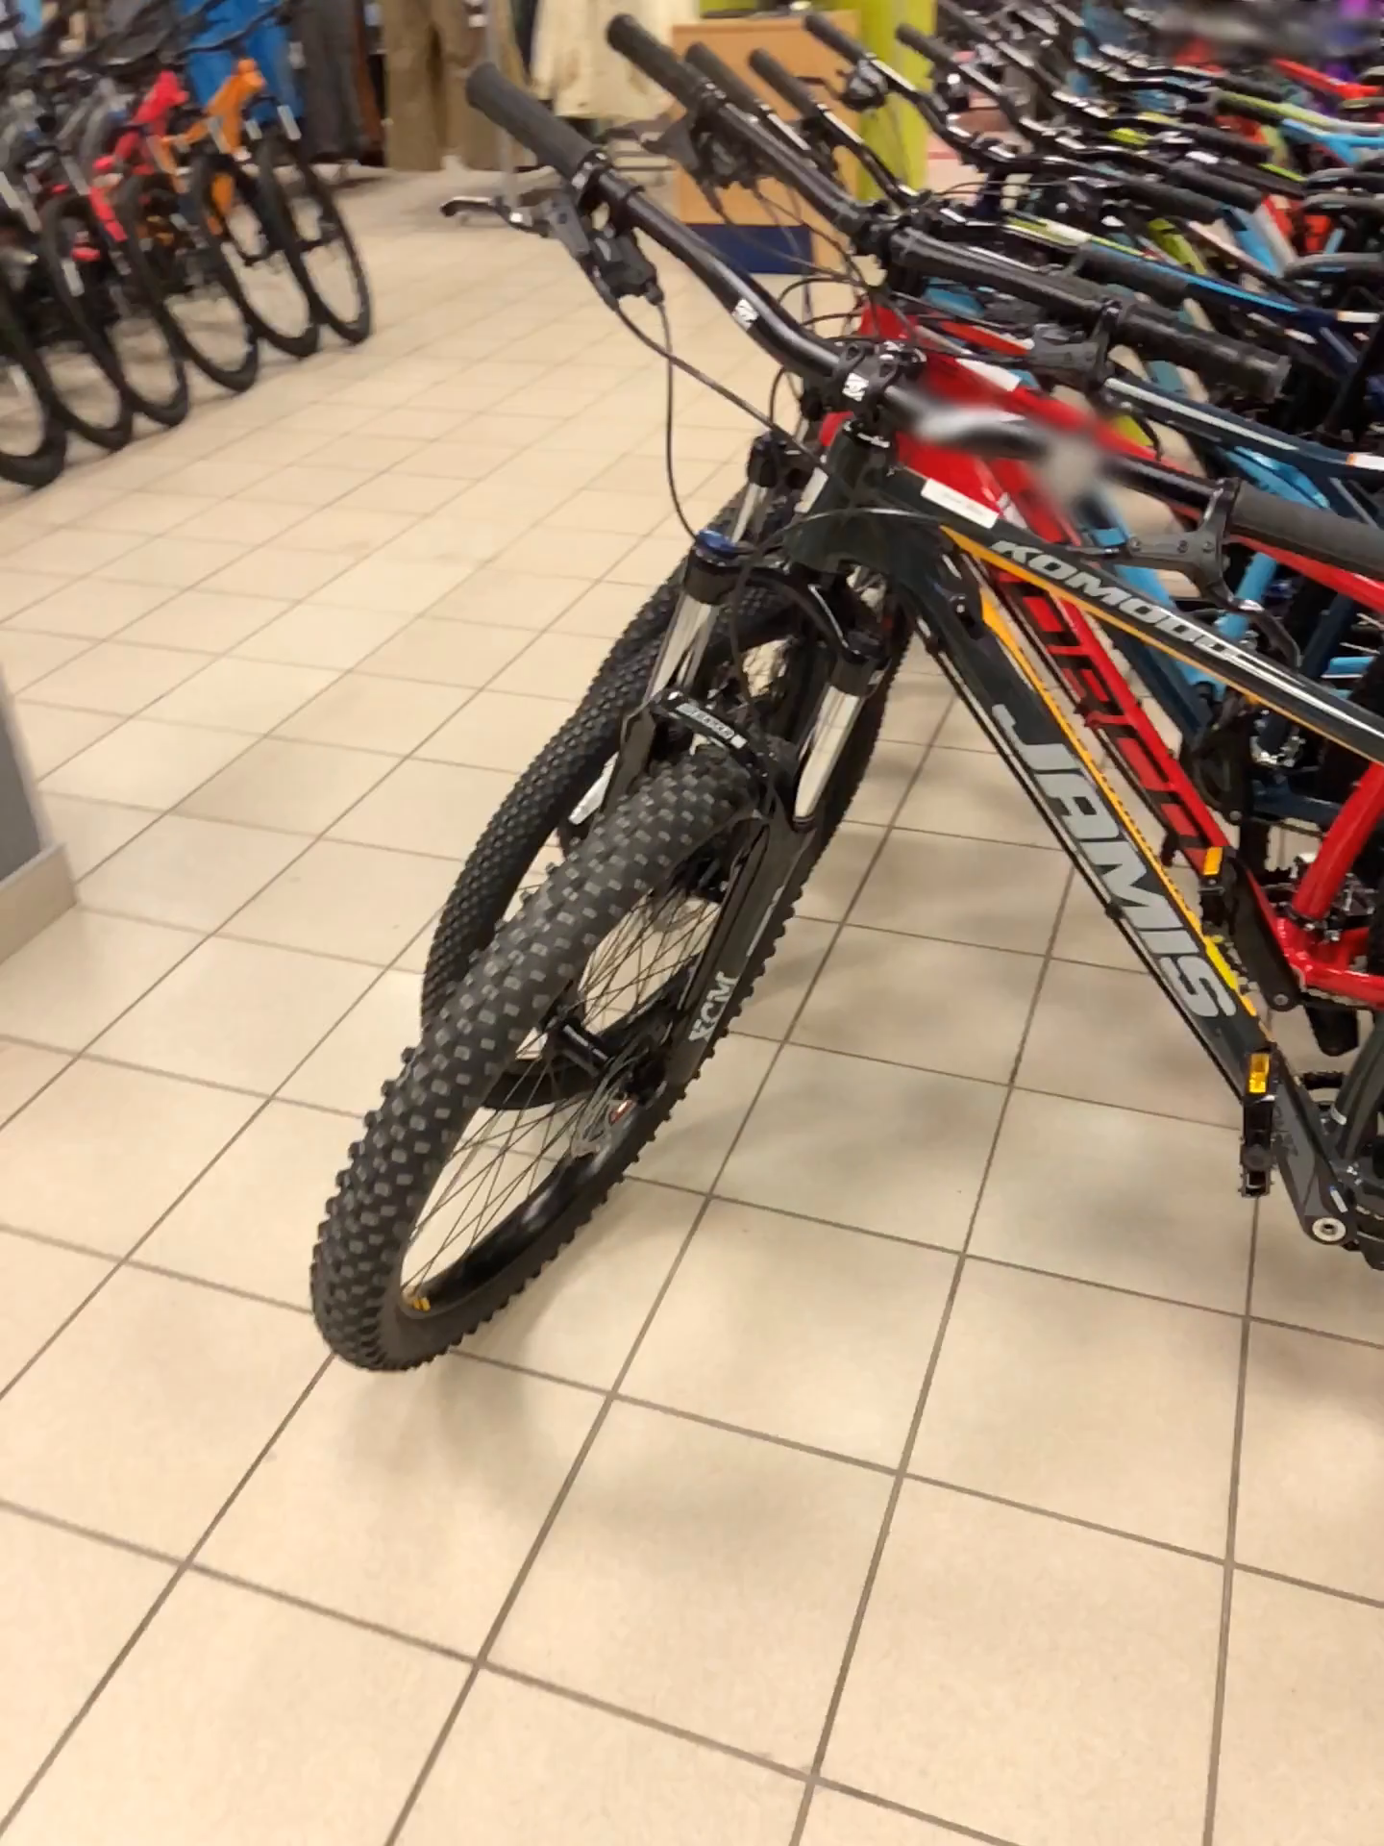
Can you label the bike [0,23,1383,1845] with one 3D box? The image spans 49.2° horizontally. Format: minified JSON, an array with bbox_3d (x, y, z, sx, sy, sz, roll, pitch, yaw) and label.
[{"bbox_3d":[0.491,0.118,1.086,1.542,1.166,0.812,2,33,9],"label":"bike"}]
